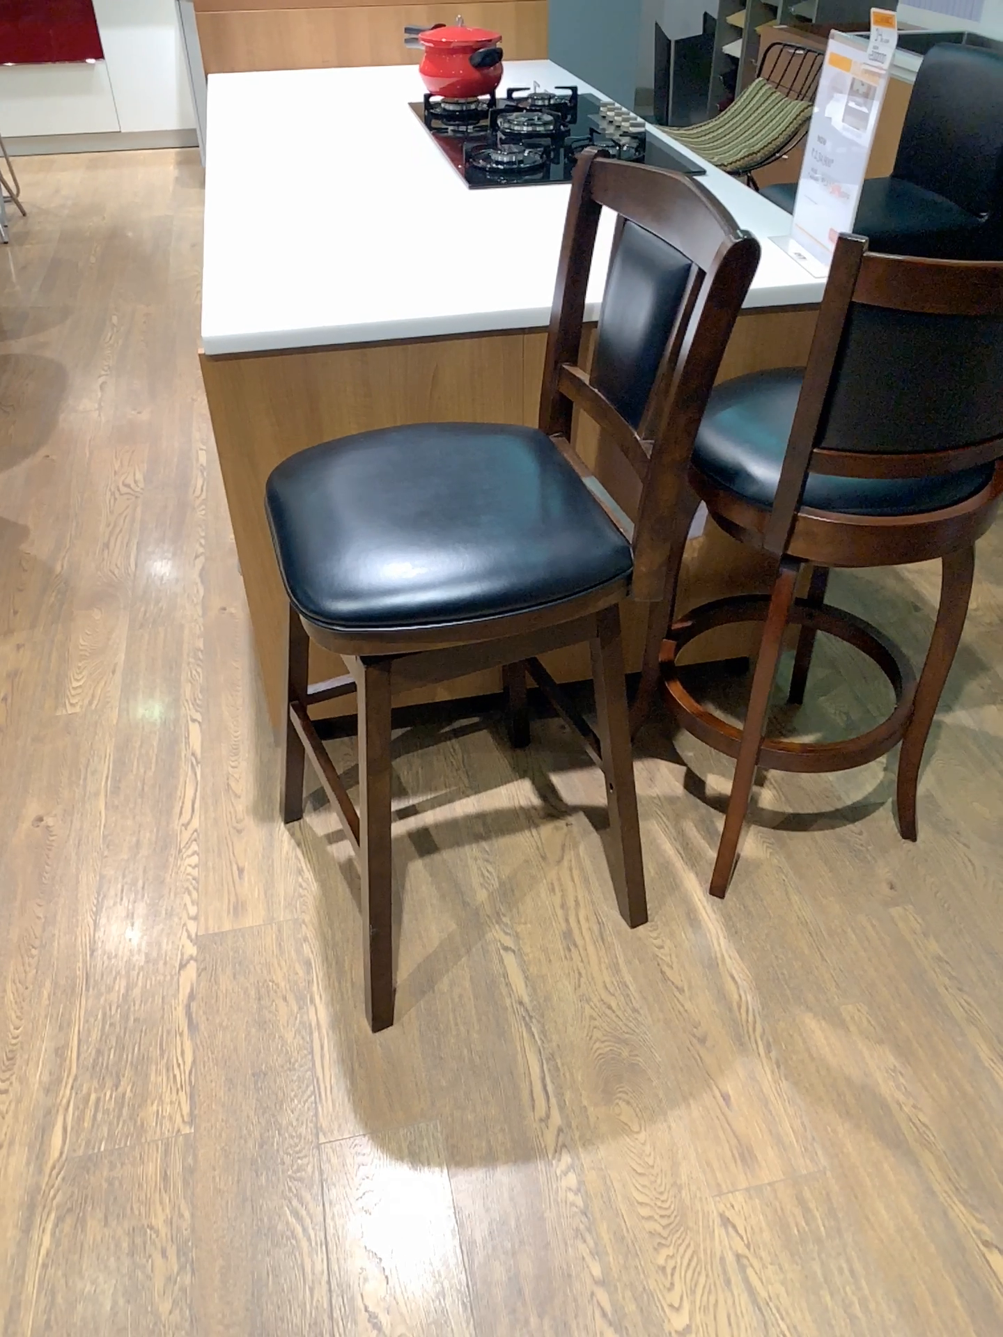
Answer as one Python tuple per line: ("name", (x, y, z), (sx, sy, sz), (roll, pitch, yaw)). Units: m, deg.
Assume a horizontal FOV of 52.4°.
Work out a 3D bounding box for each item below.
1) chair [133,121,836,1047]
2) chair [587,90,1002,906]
("chair", (-0.055, -0.110, 1.415), (0.570, 1.026, 0.582), (-16, 41, -19))
("chair", (0.510, -0.245, 1.570), (0.550, 1.026, 0.572), (-10, 39, -12))
